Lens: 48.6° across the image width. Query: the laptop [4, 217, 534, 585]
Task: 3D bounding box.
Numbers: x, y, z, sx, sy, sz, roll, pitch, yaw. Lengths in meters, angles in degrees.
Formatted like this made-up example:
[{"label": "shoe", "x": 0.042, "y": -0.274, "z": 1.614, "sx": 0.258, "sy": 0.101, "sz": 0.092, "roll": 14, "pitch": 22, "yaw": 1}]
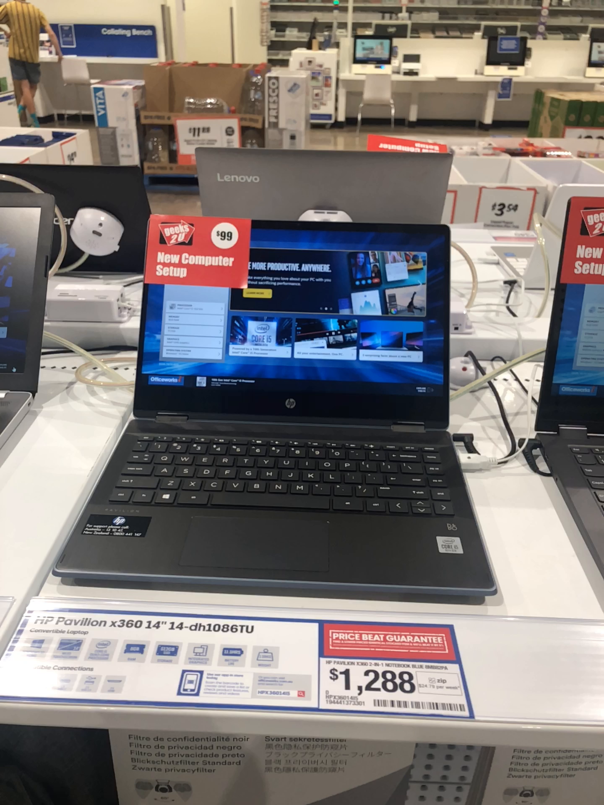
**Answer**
[{"label": "laptop", "x": -0.014, "y": -0.033, "z": 0.589, "sx": 0.314, "sy": 0.165, "sz": 0.350, "roll": 2, "pitch": 29, "yaw": 1}]
